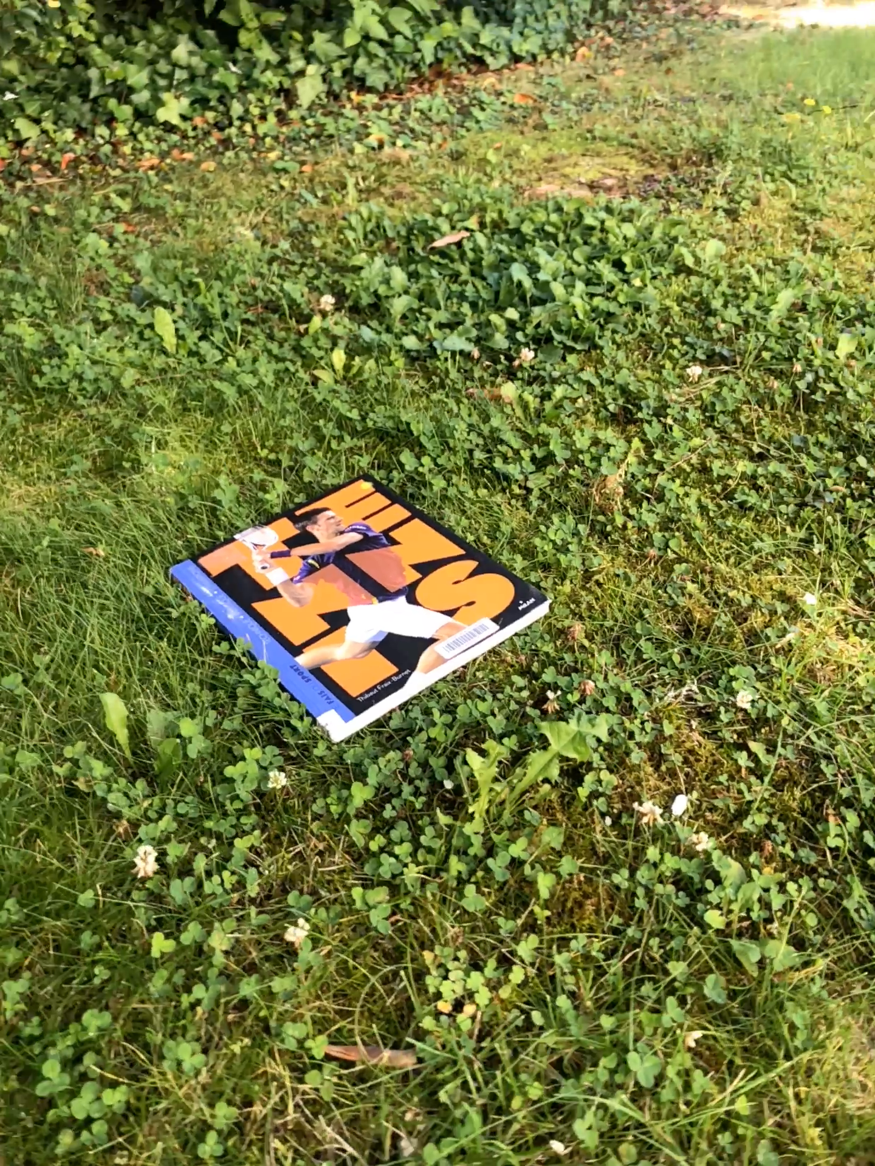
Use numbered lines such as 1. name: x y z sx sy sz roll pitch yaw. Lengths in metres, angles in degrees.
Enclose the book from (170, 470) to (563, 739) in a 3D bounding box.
1. book: -0.060 0.000 0.740 0.199 0.016 0.240 -28 44 -29
